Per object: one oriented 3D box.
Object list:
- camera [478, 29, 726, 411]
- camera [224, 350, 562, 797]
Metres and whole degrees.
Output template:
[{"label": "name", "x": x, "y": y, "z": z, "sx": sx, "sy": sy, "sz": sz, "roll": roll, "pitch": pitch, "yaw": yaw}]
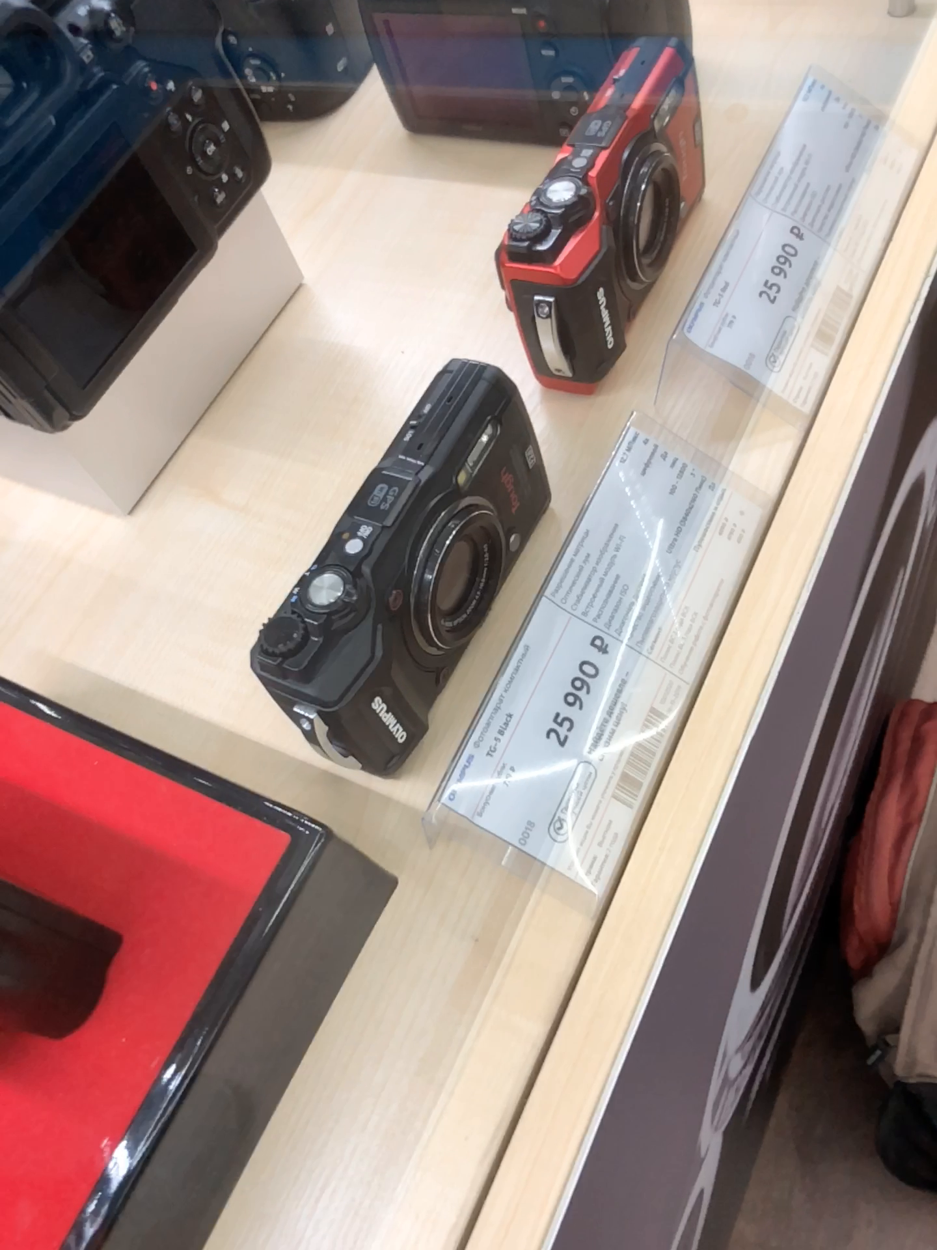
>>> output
[{"label": "camera", "x": 0.050, "y": -0.139, "z": 0.355, "sx": 0.030, "sy": 0.060, "sz": 0.117, "roll": 19, "pitch": 66, "yaw": 27}, {"label": "camera", "x": -0.016, "y": -0.016, "z": 0.309, "sx": 0.030, "sy": 0.060, "sz": 0.117, "roll": 19, "pitch": 66, "yaw": 27}]
